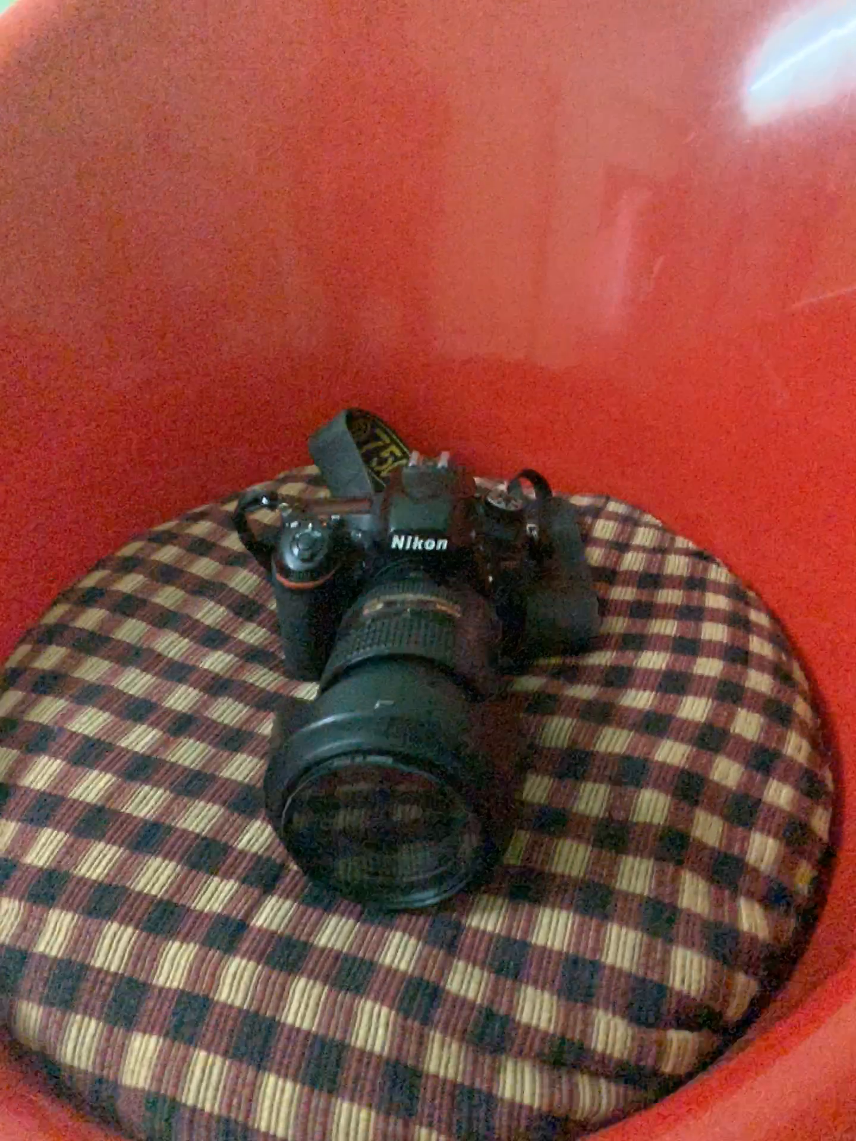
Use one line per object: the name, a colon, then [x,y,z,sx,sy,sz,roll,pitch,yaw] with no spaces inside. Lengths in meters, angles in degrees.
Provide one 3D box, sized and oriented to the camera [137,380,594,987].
camera: [-0.009,0.042,0.459,0.160,0.179,0.254,2,39,5]
